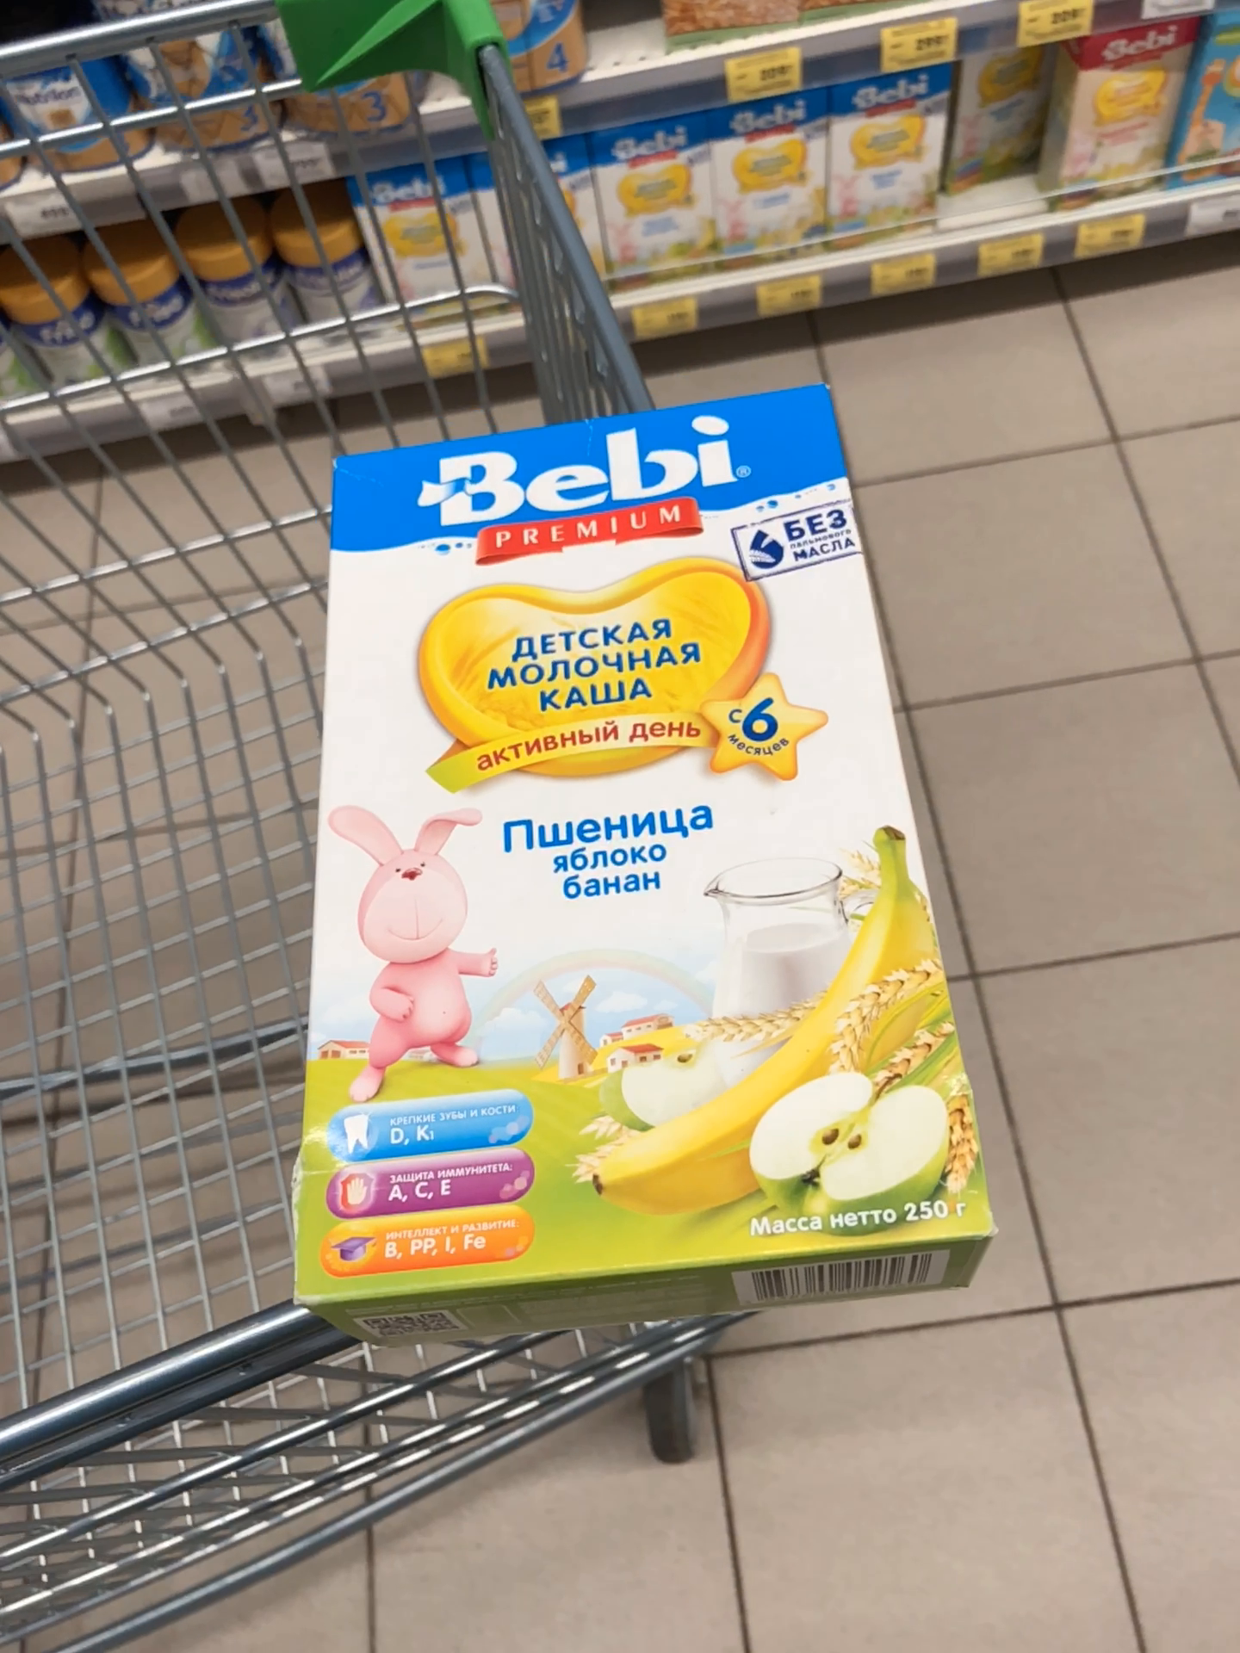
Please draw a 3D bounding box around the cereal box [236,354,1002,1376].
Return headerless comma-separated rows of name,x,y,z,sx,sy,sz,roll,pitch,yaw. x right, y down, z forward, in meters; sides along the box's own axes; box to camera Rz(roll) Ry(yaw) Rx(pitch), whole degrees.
cereal box,-0.005,0.000,0.303,0.130,0.050,0.211,-8,61,6
